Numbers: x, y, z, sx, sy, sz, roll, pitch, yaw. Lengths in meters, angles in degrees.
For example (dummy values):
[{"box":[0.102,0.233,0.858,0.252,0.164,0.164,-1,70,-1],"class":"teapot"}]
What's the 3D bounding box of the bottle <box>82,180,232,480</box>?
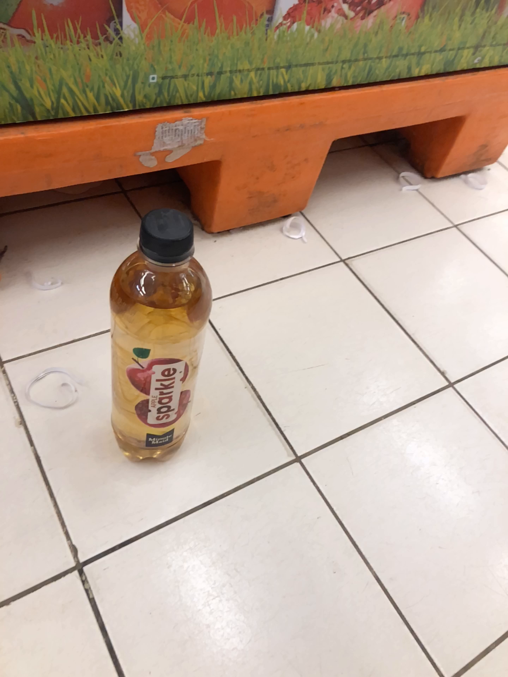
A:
[{"box":[-0.077,0.009,0.402,0.070,0.239,0.070,7,50,-8],"class":"bottle"}]
